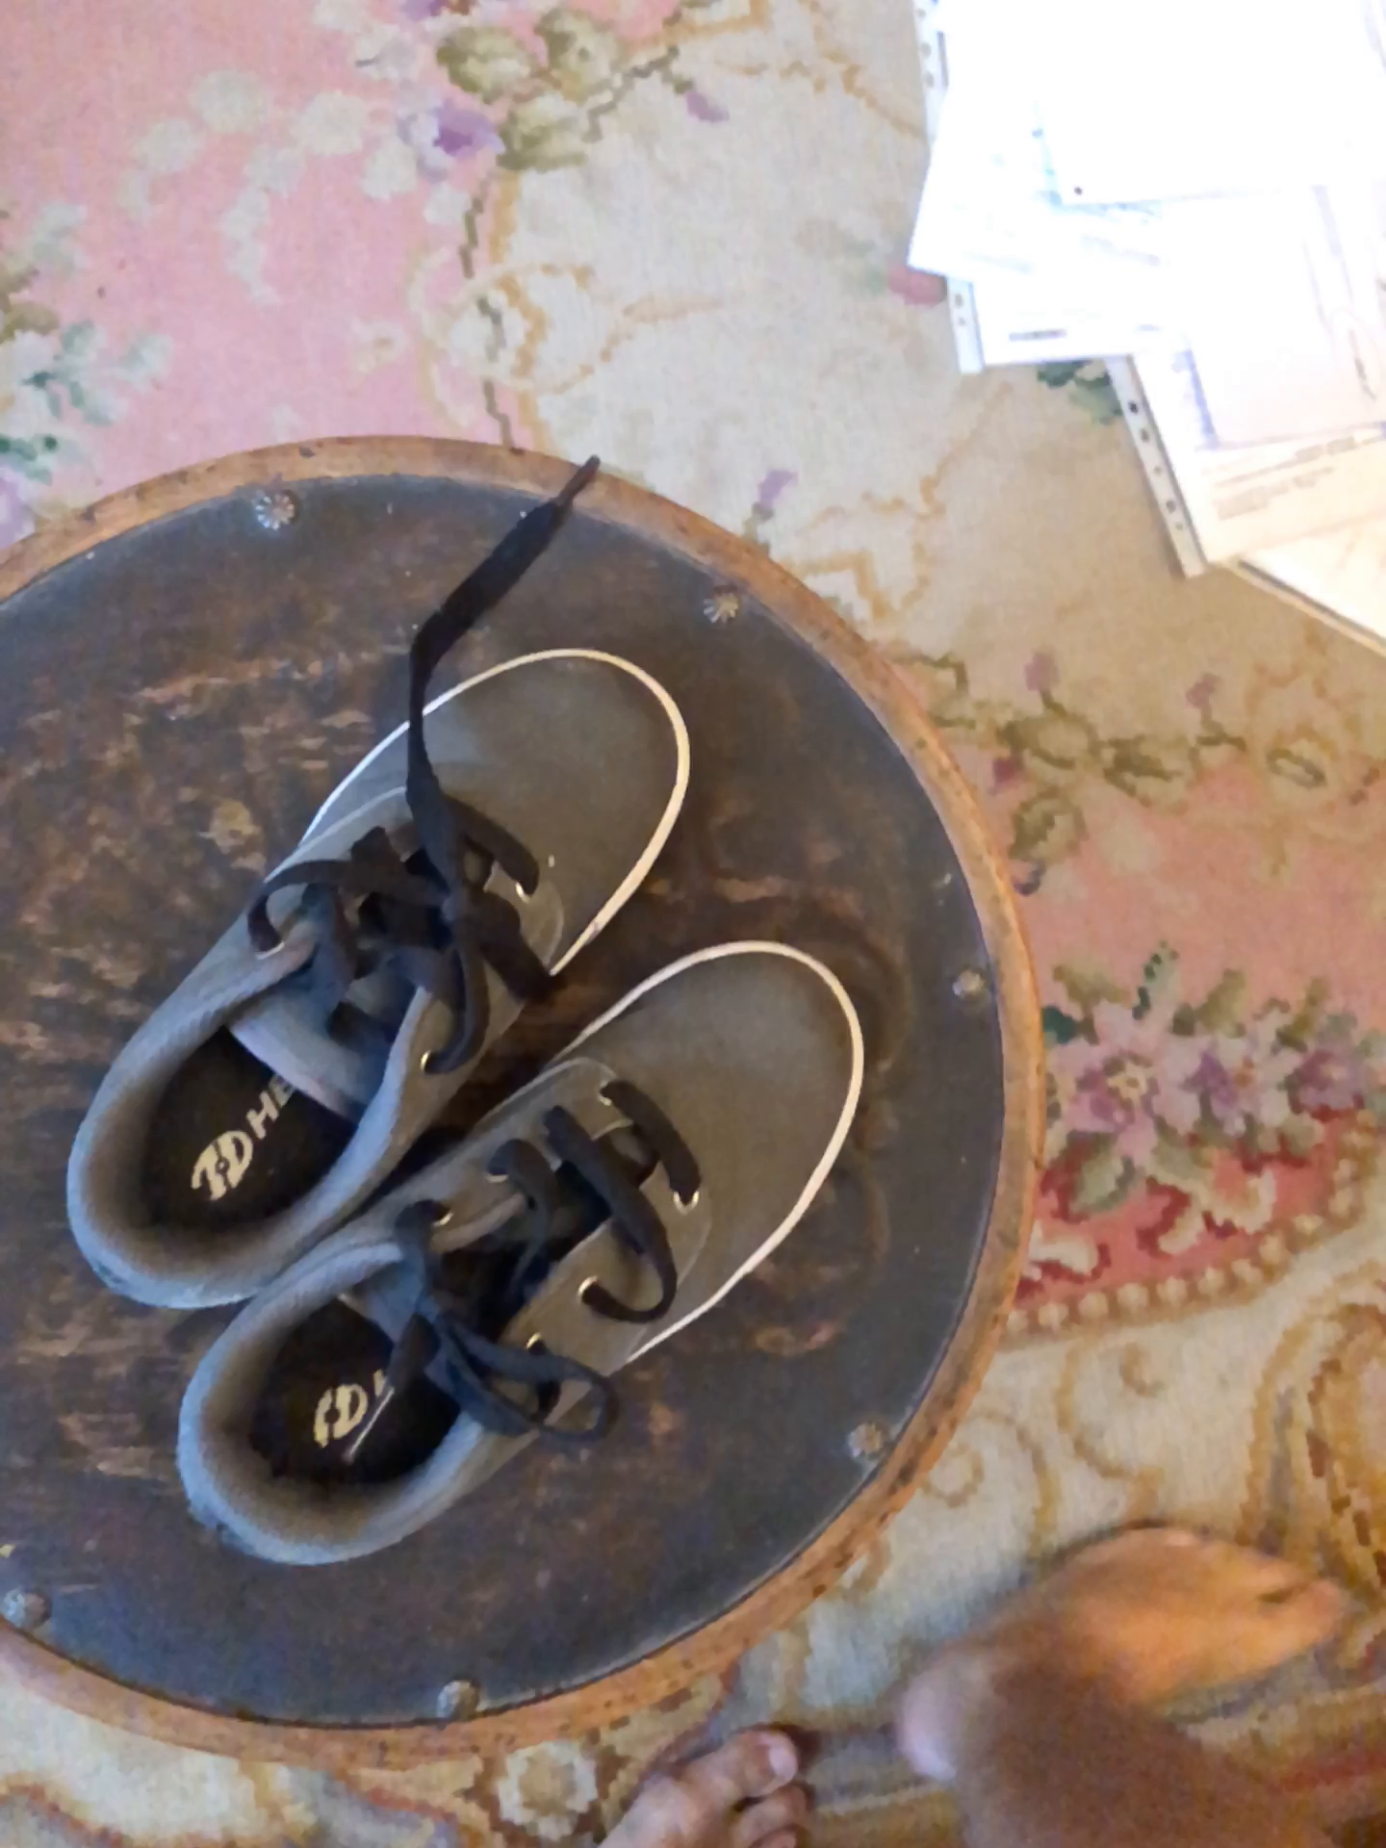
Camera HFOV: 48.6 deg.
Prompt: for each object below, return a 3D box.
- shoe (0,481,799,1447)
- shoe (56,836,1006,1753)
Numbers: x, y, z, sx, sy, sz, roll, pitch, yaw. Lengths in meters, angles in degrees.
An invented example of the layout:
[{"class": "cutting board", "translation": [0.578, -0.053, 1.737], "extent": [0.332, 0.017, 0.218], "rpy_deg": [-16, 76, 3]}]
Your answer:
[{"class": "shoe", "translation": [-0.081, 0.009, 0.399], "extent": [0.090, 0.100, 0.211], "rpy_deg": [40, 84, -1]}, {"class": "shoe", "translation": [-0.038, 0.085, 0.404], "extent": [0.211, 0.100, 0.090], "rpy_deg": [-41, 90, -6]}]
